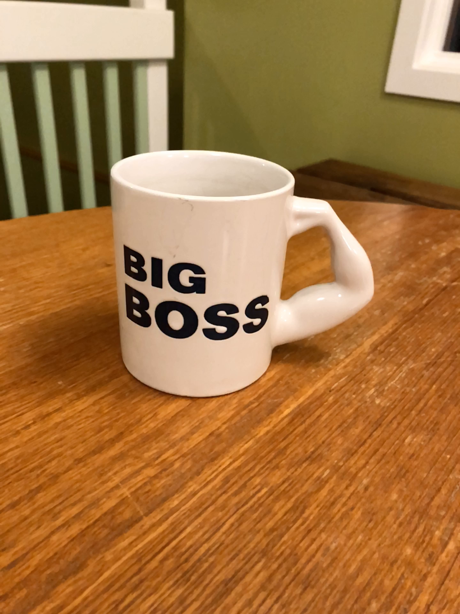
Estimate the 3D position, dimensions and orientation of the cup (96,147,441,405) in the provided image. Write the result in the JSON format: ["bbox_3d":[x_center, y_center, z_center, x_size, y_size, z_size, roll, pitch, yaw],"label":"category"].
[{"bbox_3d":[0.011,-0.019,0.264,0.138,0.099,0.088,0,29,-7],"label":"cup"}]
